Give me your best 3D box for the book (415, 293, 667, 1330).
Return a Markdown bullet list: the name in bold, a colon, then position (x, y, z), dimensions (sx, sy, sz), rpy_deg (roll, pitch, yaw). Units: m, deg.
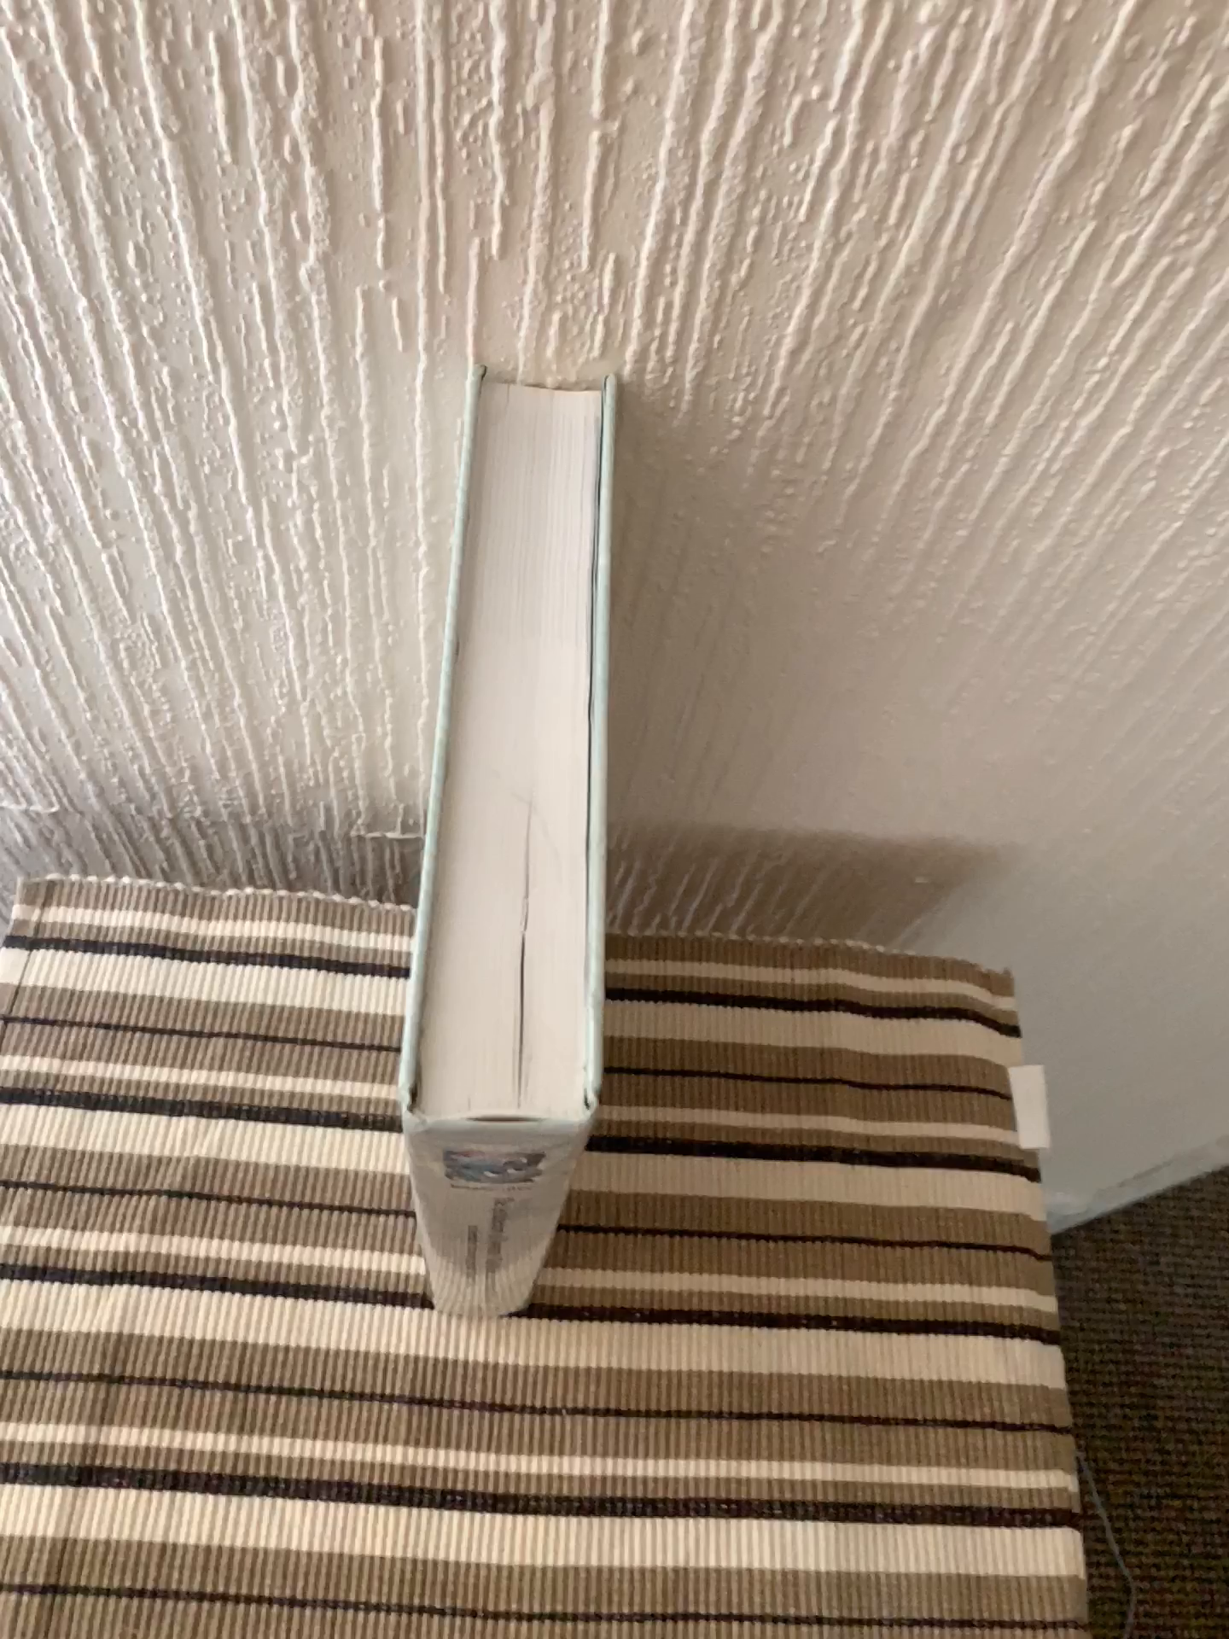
- **book**: position (-0.023, 0.024, 0.377), dimensions (0.040, 0.258, 0.211), rpy_deg (4, 62, -4)
